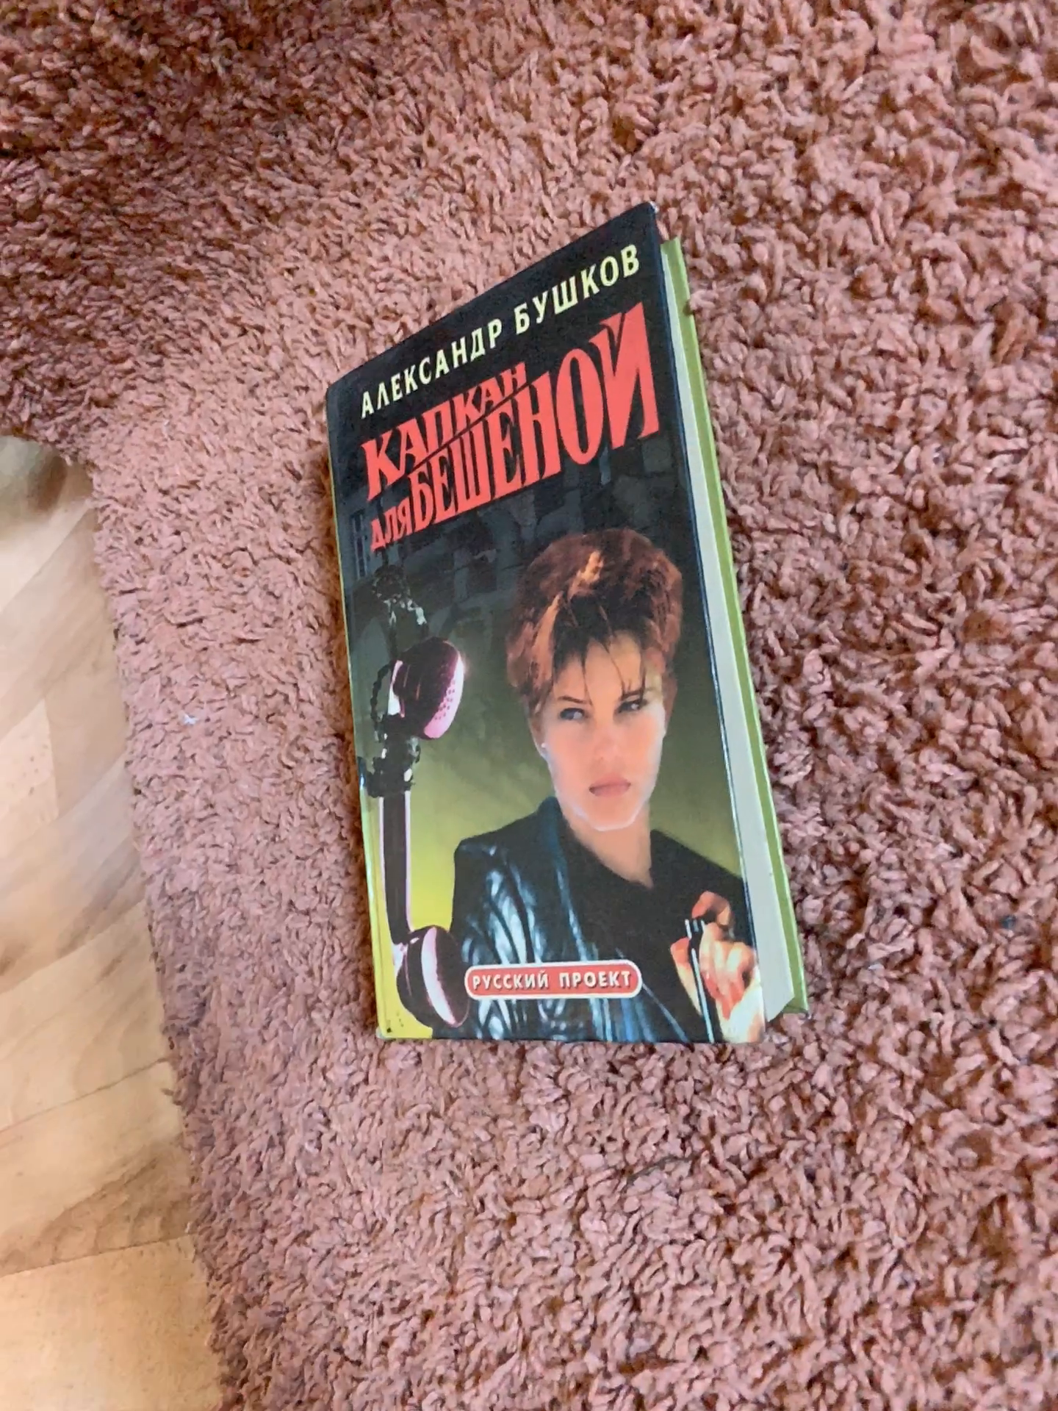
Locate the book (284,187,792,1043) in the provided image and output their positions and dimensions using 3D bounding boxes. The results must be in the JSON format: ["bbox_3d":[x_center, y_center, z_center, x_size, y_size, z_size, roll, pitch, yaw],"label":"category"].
[{"bbox_3d":[-0.008,-0.013,0.285,0.125,0.027,0.190,-14,79,40],"label":"book"}]
